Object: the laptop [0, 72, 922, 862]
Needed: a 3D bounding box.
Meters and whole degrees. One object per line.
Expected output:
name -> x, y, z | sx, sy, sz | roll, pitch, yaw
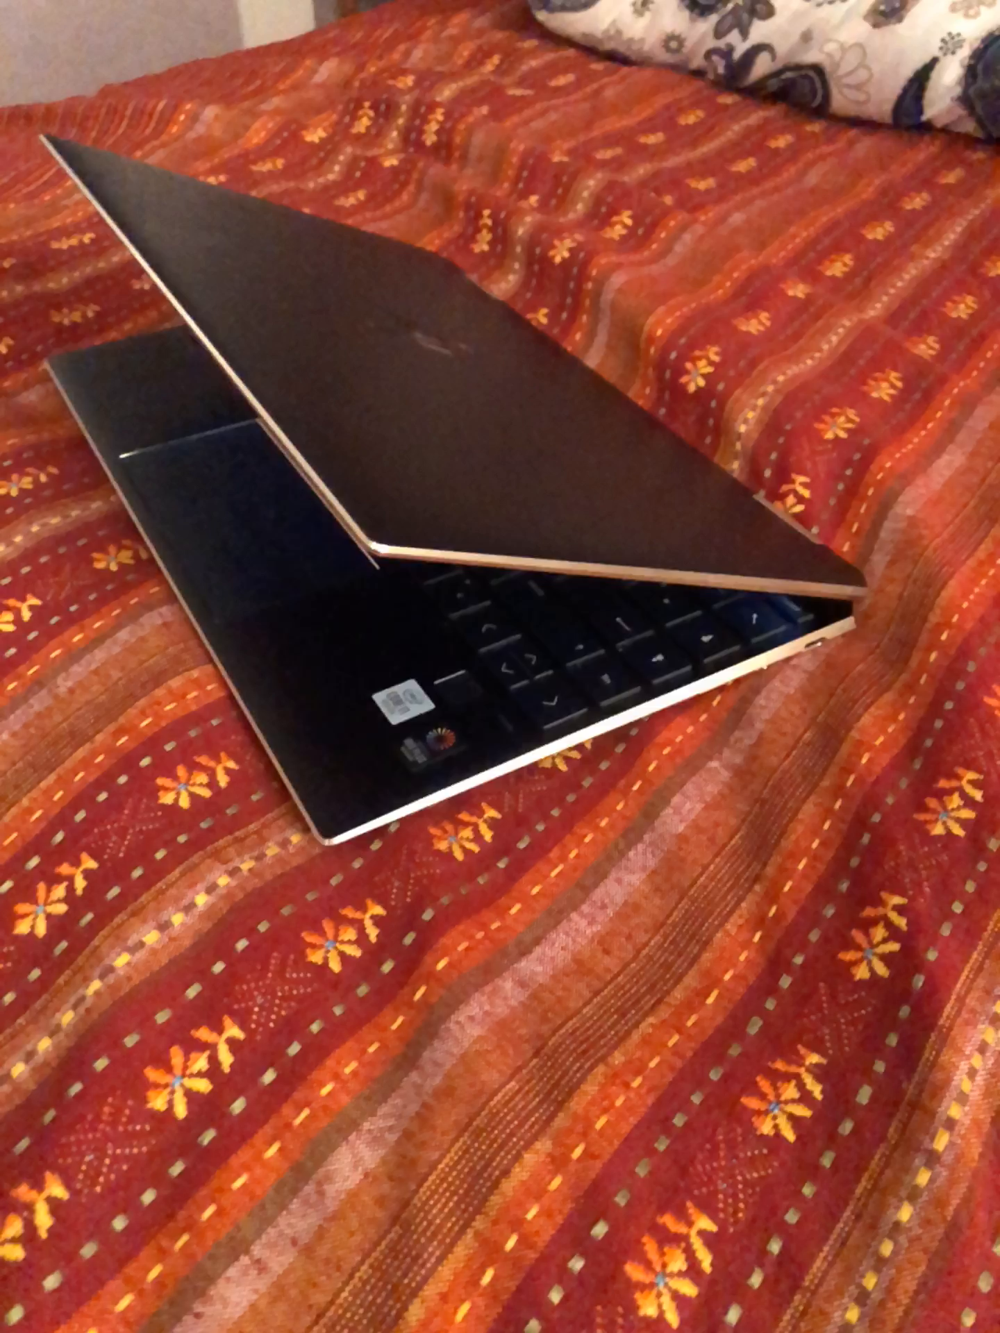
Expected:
laptop -> -0.041, -0.117, 0.401 | 0.203, 0.101, 0.327 | -19, 44, -24
